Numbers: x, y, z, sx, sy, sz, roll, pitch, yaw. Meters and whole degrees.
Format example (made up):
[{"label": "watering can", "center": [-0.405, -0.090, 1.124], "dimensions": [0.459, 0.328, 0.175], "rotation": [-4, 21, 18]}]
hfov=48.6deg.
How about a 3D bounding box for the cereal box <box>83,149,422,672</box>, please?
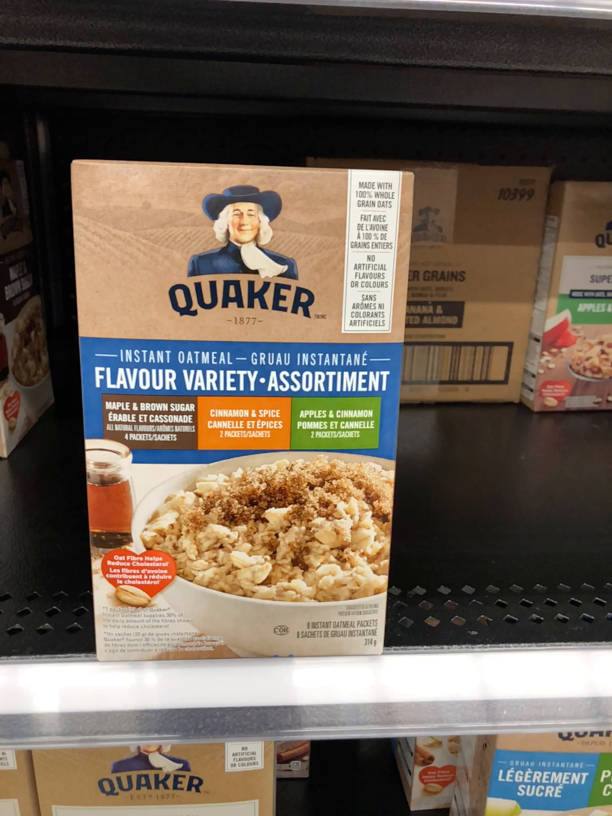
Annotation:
[{"label": "cereal box", "center": [-0.023, 0.003, 0.297], "dimensions": [0.120, 0.209, 0.060], "rotation": [0, 15, -6]}]
